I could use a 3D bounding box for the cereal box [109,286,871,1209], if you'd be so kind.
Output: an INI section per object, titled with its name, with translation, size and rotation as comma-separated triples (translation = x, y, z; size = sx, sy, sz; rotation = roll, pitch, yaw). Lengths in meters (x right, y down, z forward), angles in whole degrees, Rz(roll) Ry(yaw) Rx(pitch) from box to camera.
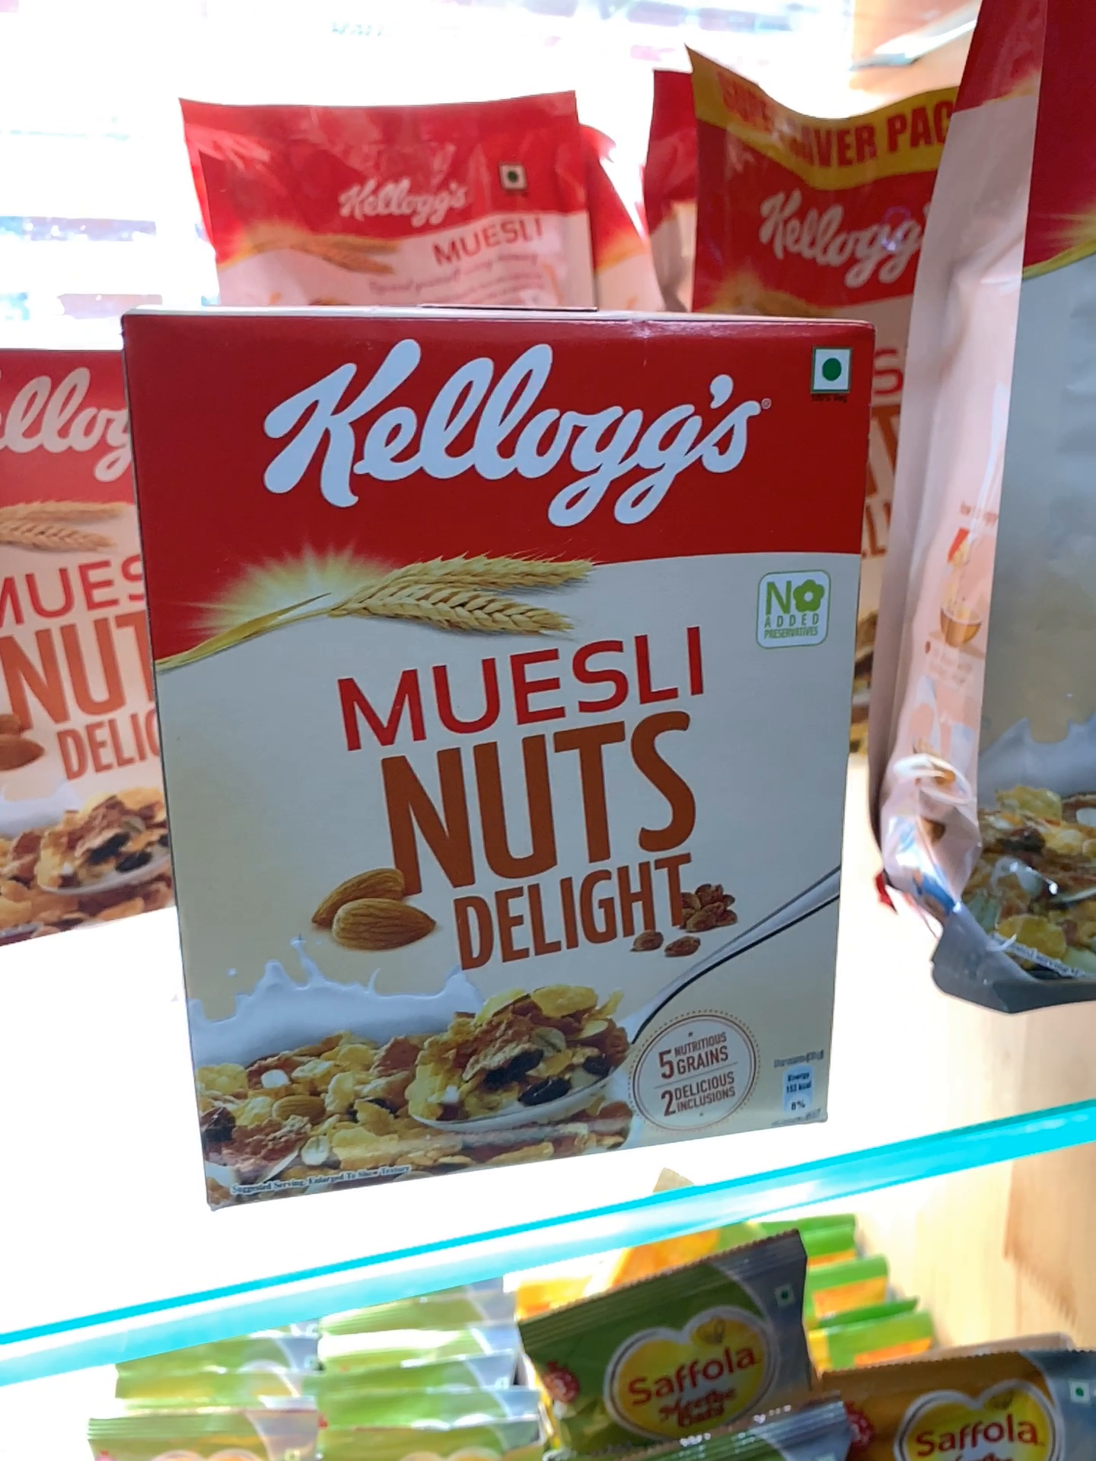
[cereal box]
translation = -0.010, 0.001, 0.239
size = 0.130, 0.169, 0.050
rotation = -3, 15, -11
